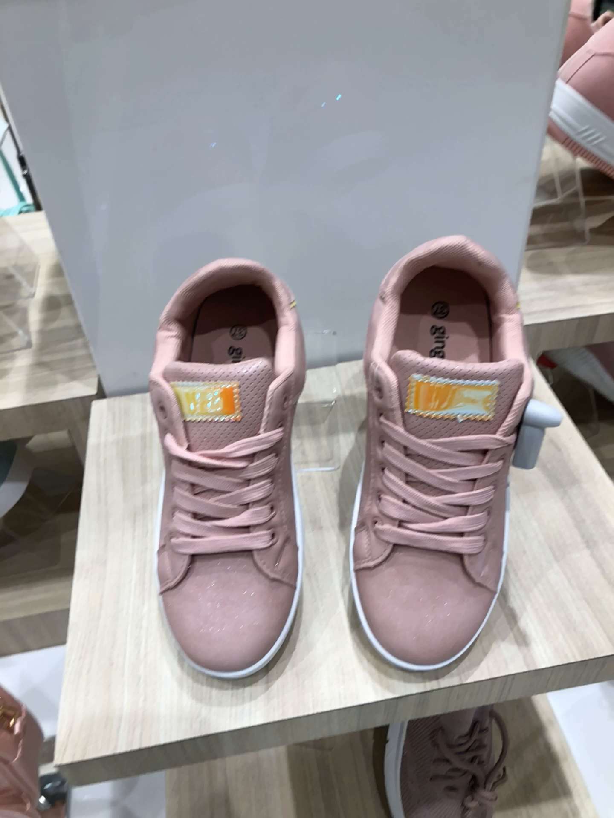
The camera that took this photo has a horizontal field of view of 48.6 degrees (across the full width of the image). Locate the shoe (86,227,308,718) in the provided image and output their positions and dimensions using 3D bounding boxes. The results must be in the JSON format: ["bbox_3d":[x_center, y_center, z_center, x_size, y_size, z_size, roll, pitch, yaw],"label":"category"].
[{"bbox_3d":[-0.055,0.033,0.399,0.103,0.094,0.252,0,81,4],"label":"shoe"}]

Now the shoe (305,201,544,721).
[{"bbox_3d":[0.069,0.024,0.399,0.099,0.093,0.262,6,80,8],"label":"shoe"}]
